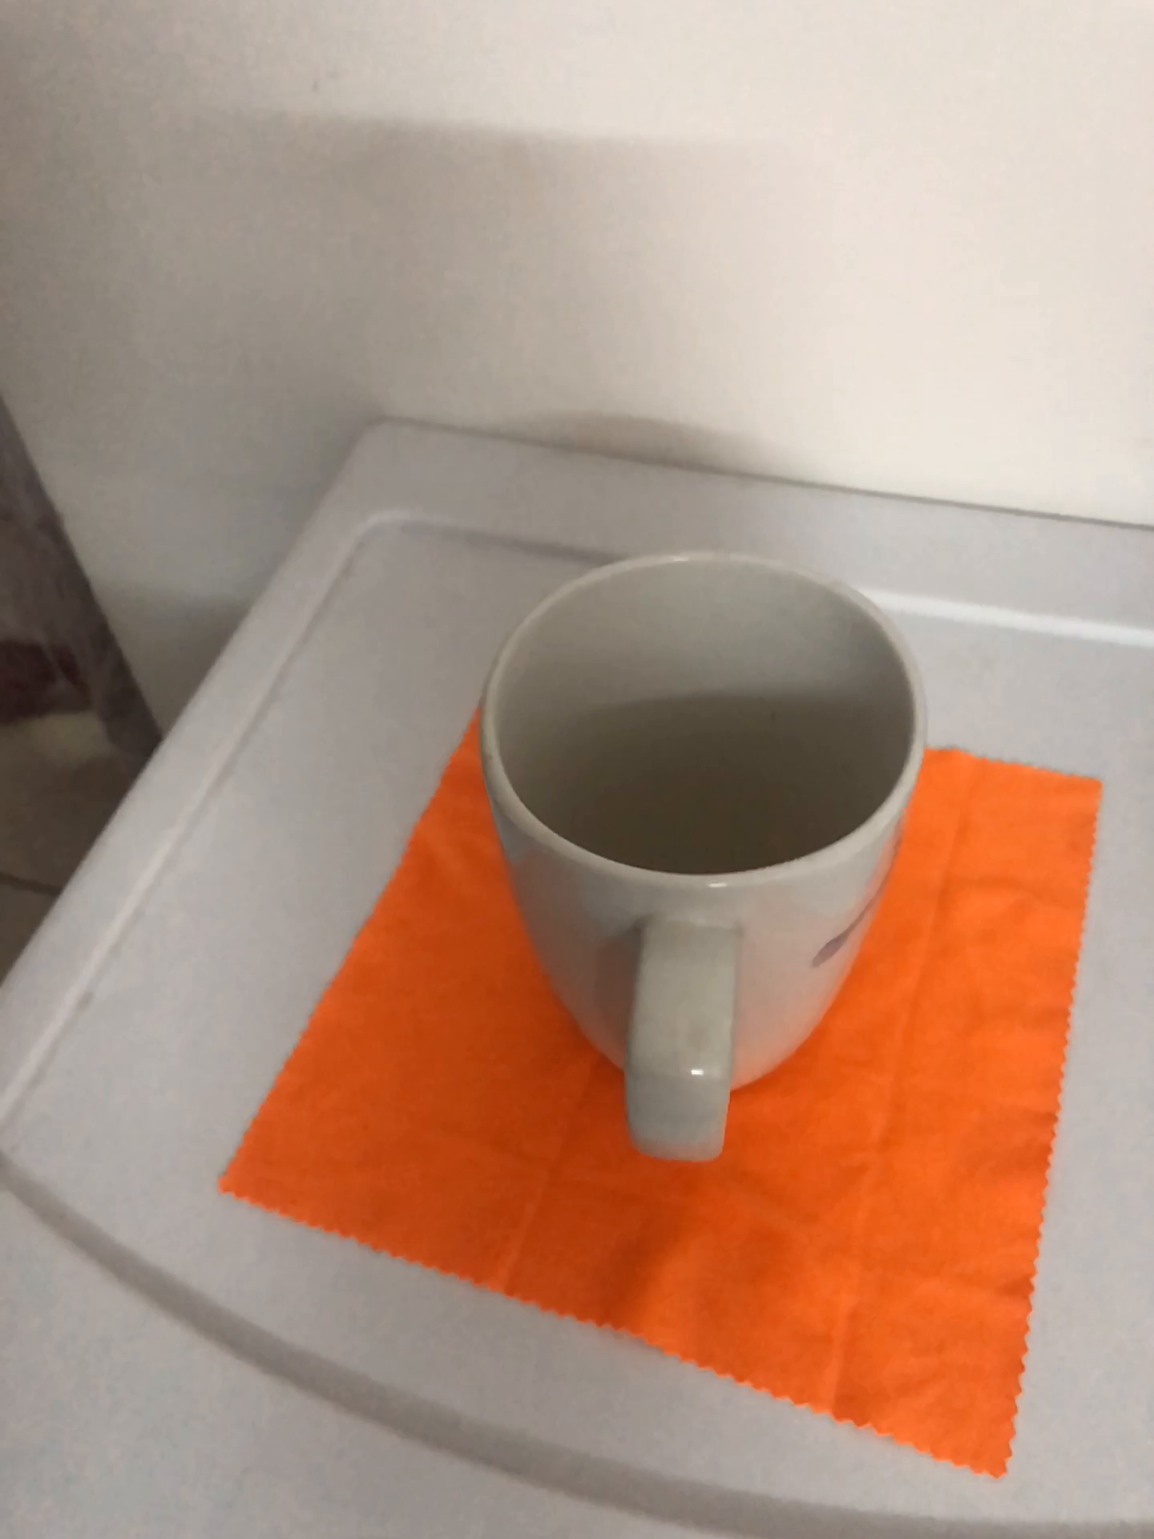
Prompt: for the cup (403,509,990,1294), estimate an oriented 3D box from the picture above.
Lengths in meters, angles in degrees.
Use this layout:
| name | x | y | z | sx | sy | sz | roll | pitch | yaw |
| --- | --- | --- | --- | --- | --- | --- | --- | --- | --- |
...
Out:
| name | x | y | z | sx | sy | sz | roll | pitch | yaw |
| --- | --- | --- | --- | --- | --- | --- | --- | --- | --- |
| cup | 0.030 | 0.026 | 0.274 | 0.090 | 0.100 | 0.120 | 6 | 51 | 9 |
